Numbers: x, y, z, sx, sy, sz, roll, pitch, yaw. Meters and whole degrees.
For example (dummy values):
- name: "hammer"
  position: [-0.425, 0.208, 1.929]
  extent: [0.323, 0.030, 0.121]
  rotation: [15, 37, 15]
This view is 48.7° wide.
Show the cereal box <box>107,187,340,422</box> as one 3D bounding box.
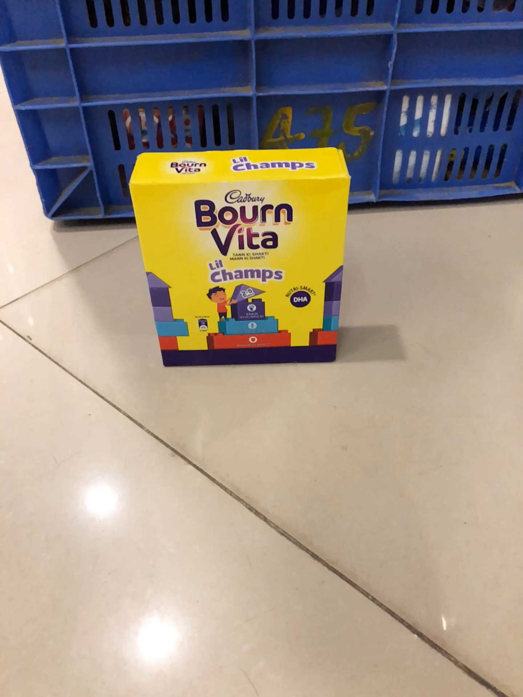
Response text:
- name: "cereal box"
  position: [-0.020, -0.028, 0.441]
  extent: [0.150, 0.169, 0.050]
  rotation: [-3, 35, 1]
